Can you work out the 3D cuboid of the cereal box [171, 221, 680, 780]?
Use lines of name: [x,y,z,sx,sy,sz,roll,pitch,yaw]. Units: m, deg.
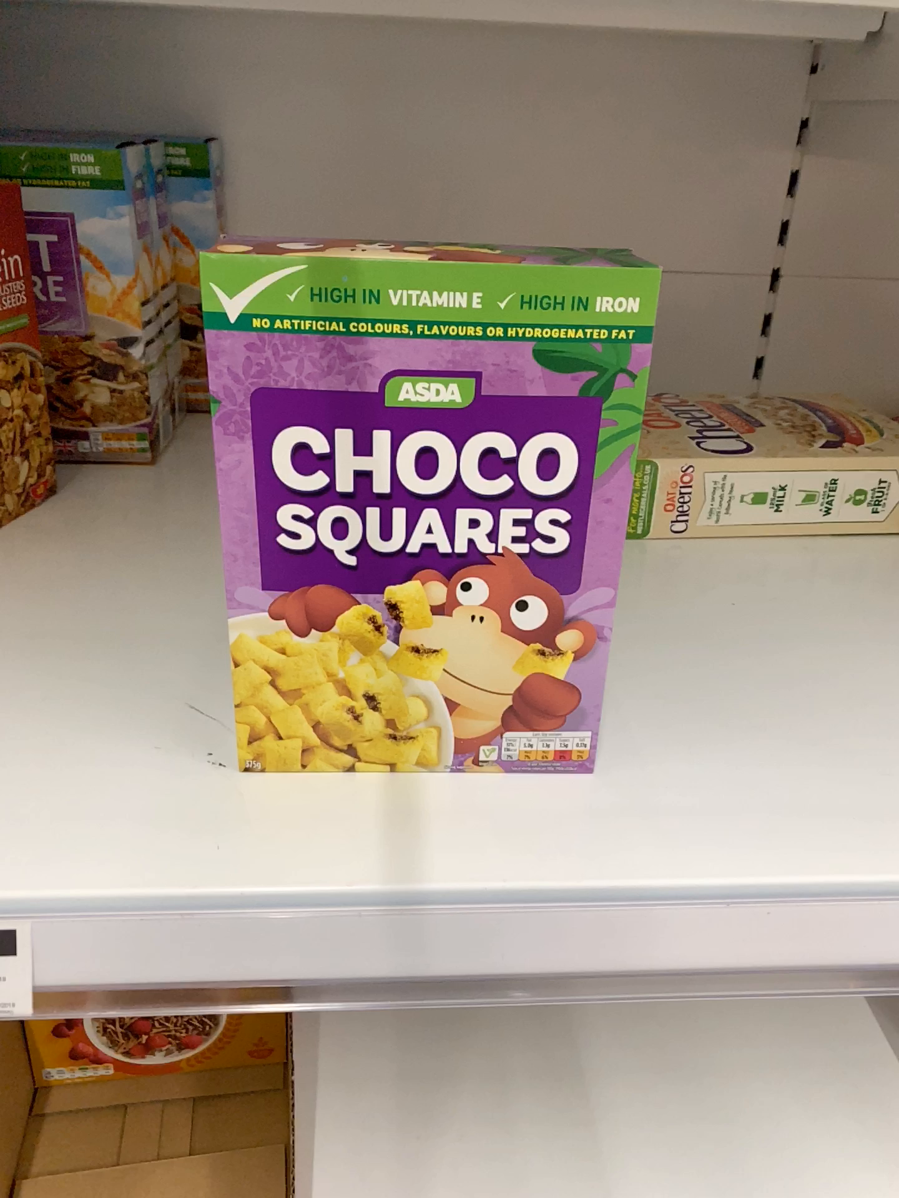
cereal box: [-0.014,-0.035,0.428,0.190,0.248,0.061,1,27,-3]
